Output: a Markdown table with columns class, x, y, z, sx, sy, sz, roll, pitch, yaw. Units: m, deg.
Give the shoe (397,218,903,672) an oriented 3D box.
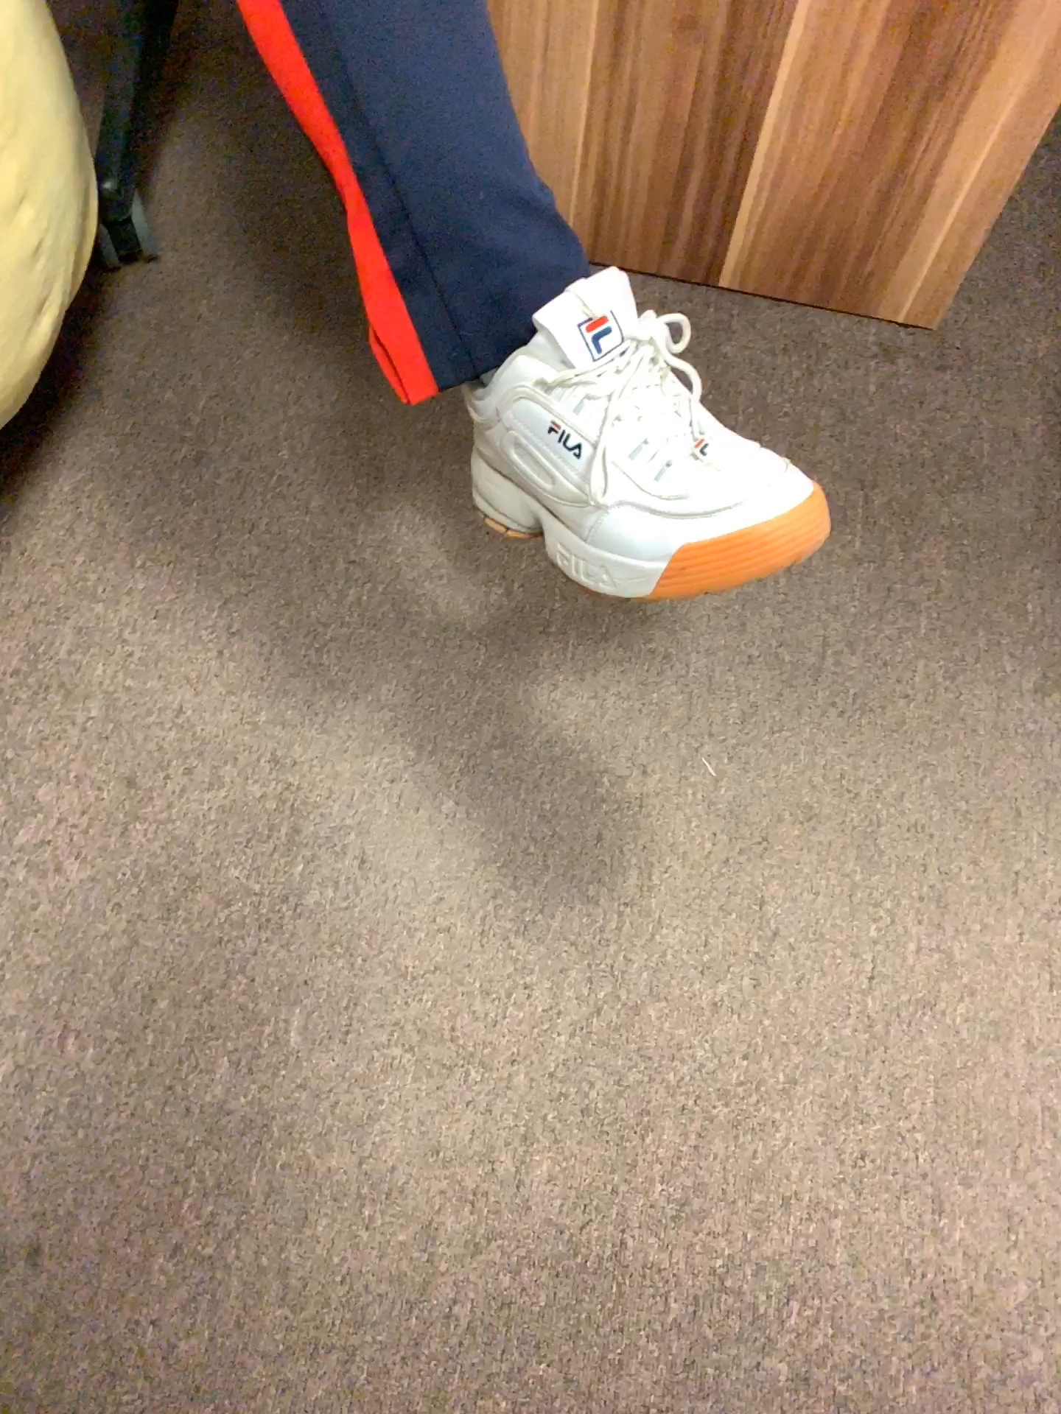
| class | x | y | z | sx | sy | sz | roll | pitch | yaw |
| --- | --- | --- | --- | --- | --- | --- | --- | --- | --- |
| shoe | 0.055 | -0.153 | 0.585 | 0.130 | 0.130 | 0.230 | -31 | 49 | -24 |
